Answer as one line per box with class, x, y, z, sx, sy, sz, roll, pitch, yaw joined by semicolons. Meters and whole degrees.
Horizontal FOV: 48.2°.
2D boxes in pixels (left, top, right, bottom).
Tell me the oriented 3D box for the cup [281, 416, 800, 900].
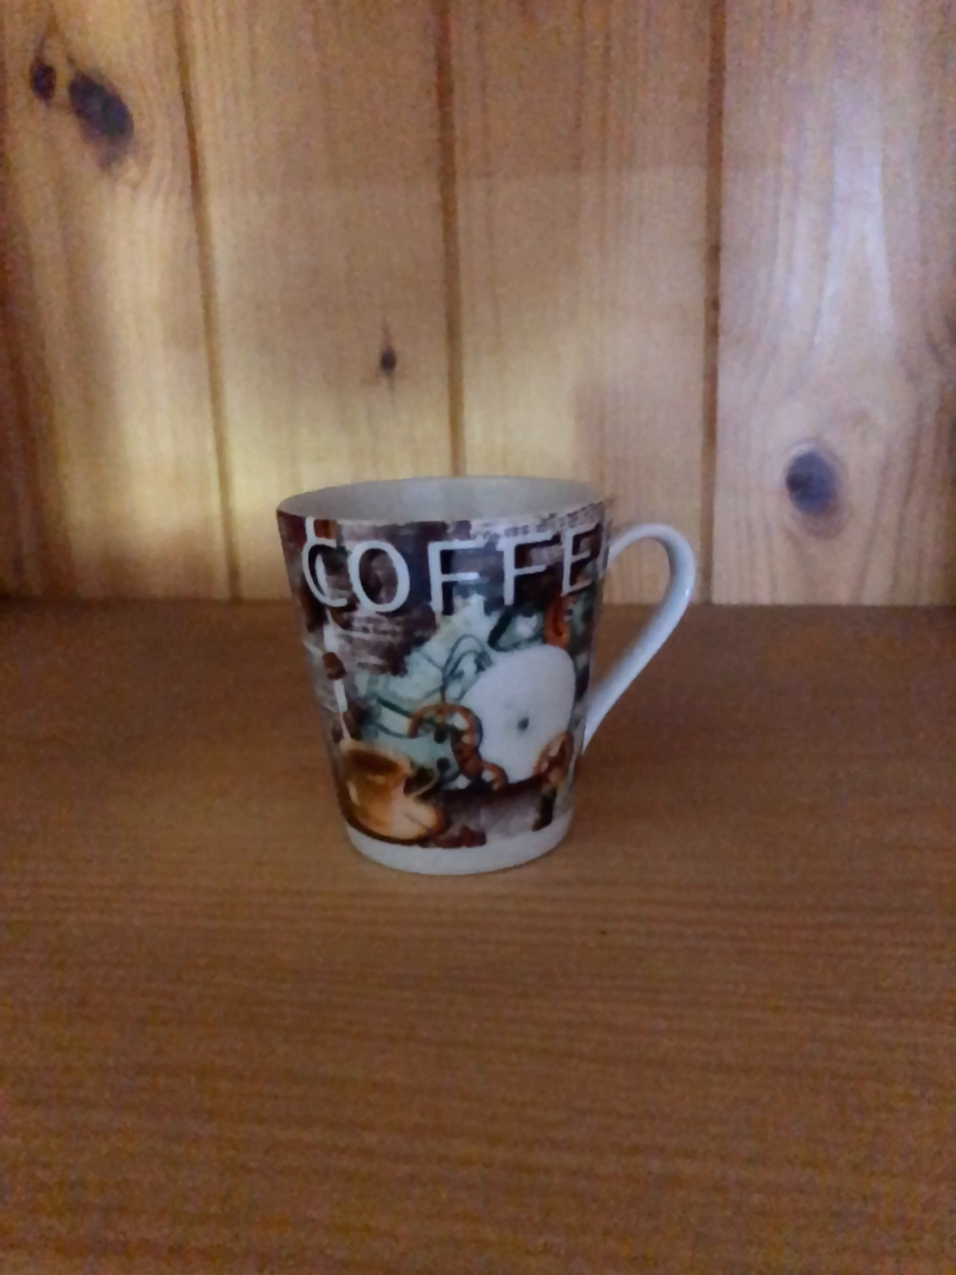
cup;0.007;-0.002;0.198;0.080;0.070;0.060;-4;15;-9
